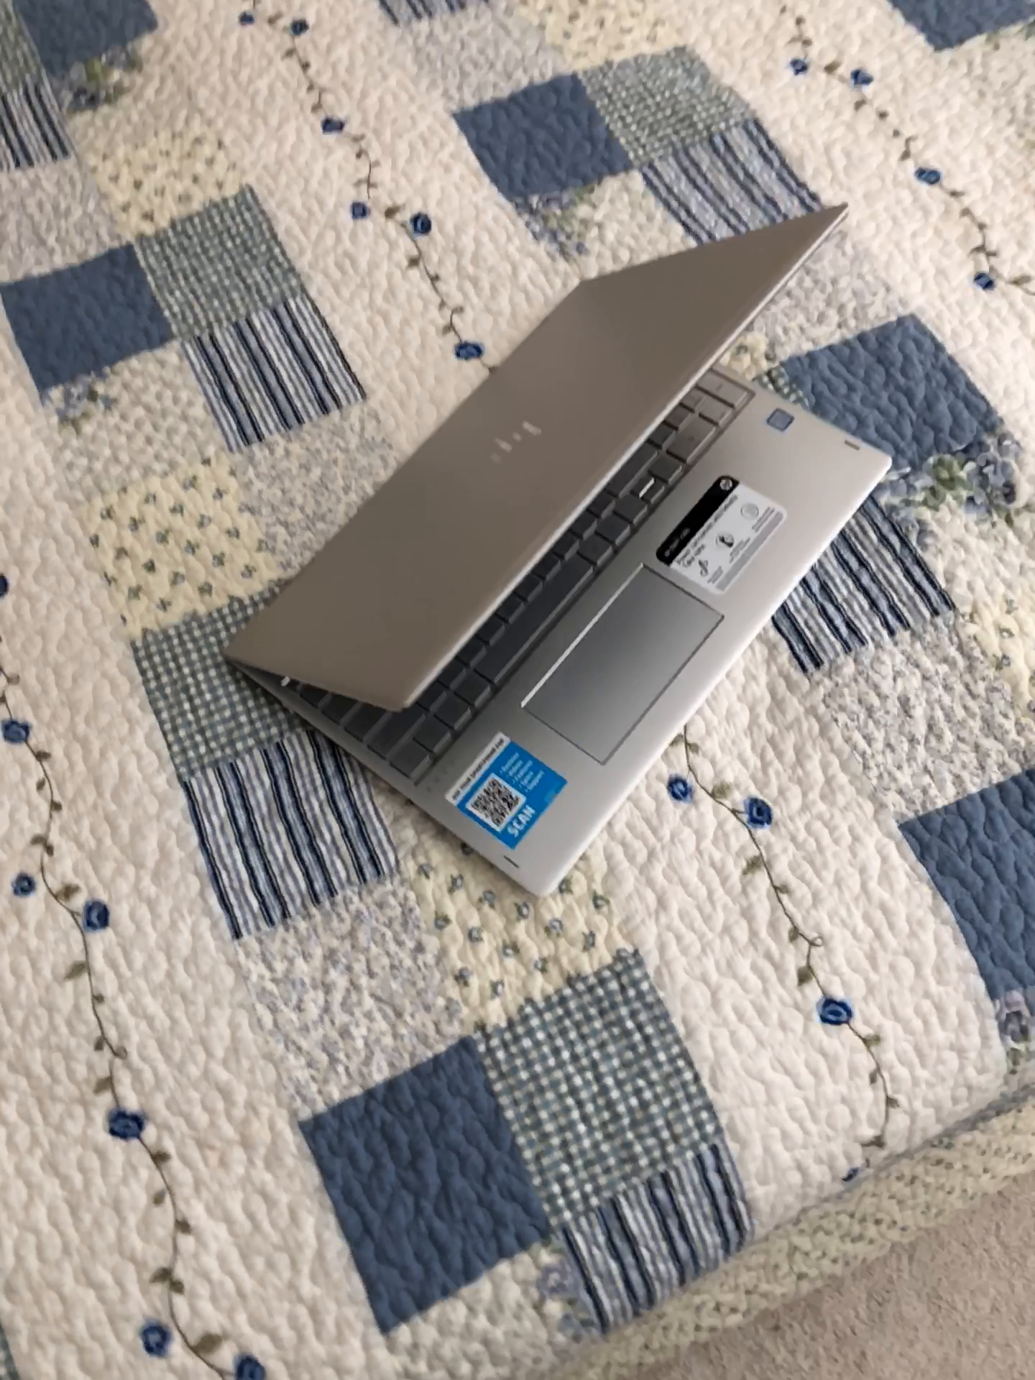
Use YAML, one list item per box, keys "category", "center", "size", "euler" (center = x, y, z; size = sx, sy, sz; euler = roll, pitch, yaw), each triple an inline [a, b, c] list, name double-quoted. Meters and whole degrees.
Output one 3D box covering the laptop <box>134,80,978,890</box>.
- category: "laptop"
  center: [0.027, -0.118, 0.621]
  size: [0.242, 0.158, 0.348]
  euler: [35, 72, 18]
